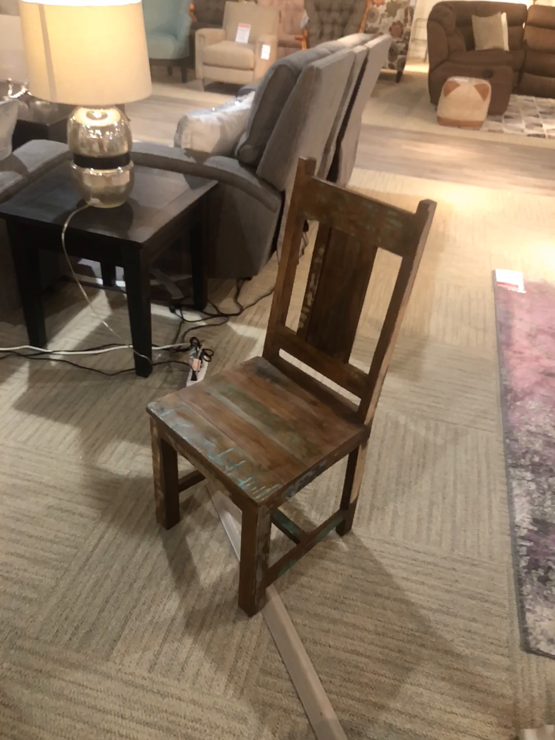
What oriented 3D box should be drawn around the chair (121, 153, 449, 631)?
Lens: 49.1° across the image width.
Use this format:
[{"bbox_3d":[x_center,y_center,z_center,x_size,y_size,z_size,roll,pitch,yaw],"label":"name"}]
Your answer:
[{"bbox_3d":[-0.013,0.056,1.576,0.512,1.024,0.477,-25,44,-36],"label":"chair"}]
